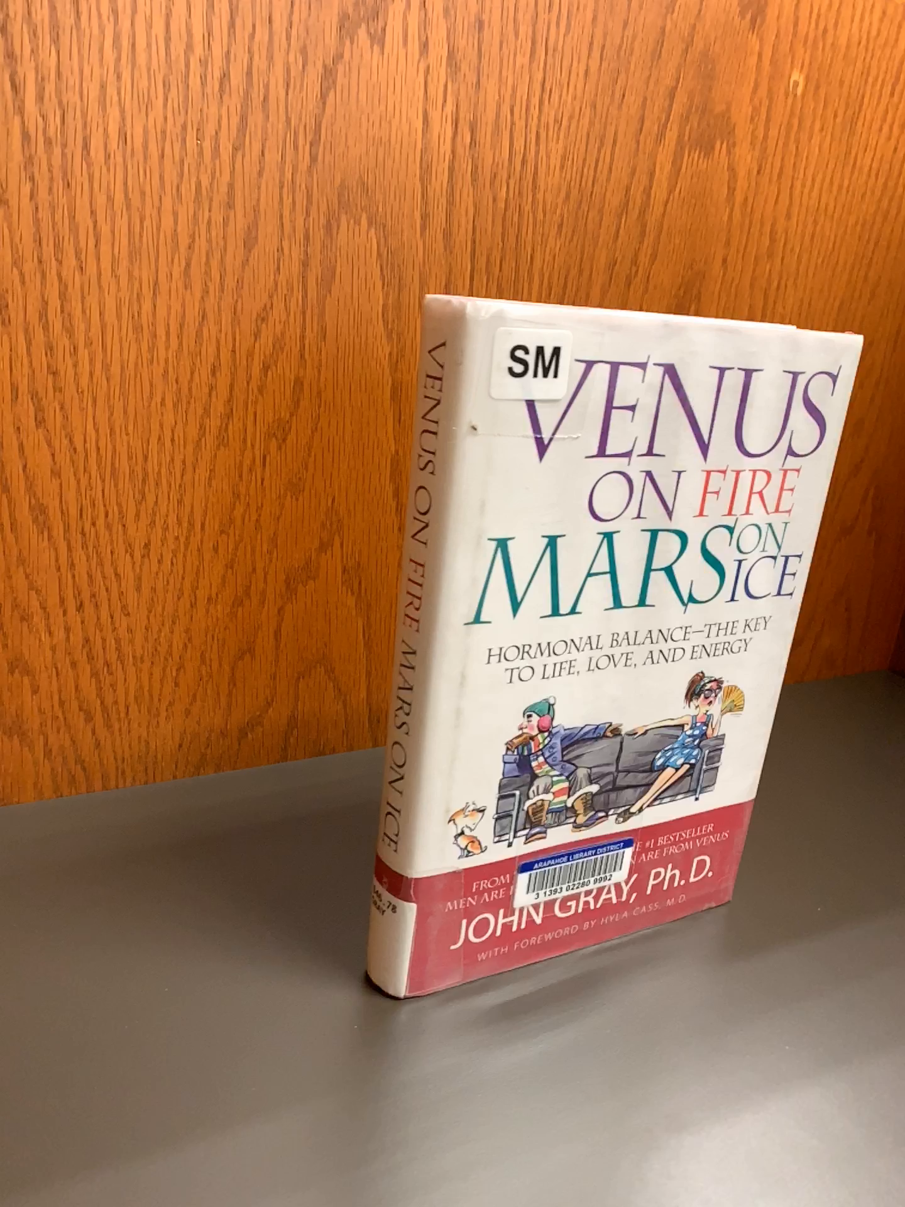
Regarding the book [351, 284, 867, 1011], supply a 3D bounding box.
[{"bbox_3d":[0.049,0.015,0.314,0.153,0.220,0.033,-5,21,-28],"label":"book"}]
